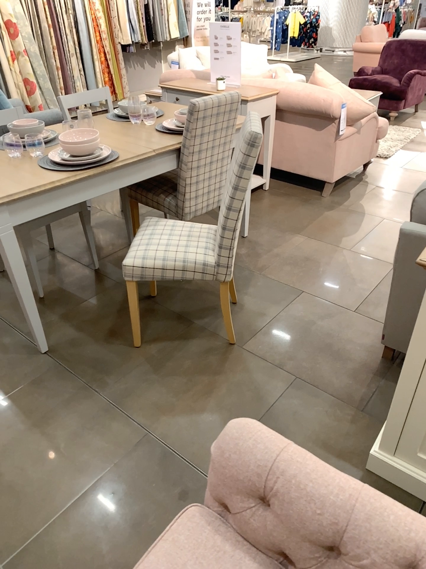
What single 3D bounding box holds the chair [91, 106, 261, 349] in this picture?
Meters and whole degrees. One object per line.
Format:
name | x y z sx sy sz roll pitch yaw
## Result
chair | -0.112 -0.227 1.869 0.566 0.937 0.432 0 33 2
